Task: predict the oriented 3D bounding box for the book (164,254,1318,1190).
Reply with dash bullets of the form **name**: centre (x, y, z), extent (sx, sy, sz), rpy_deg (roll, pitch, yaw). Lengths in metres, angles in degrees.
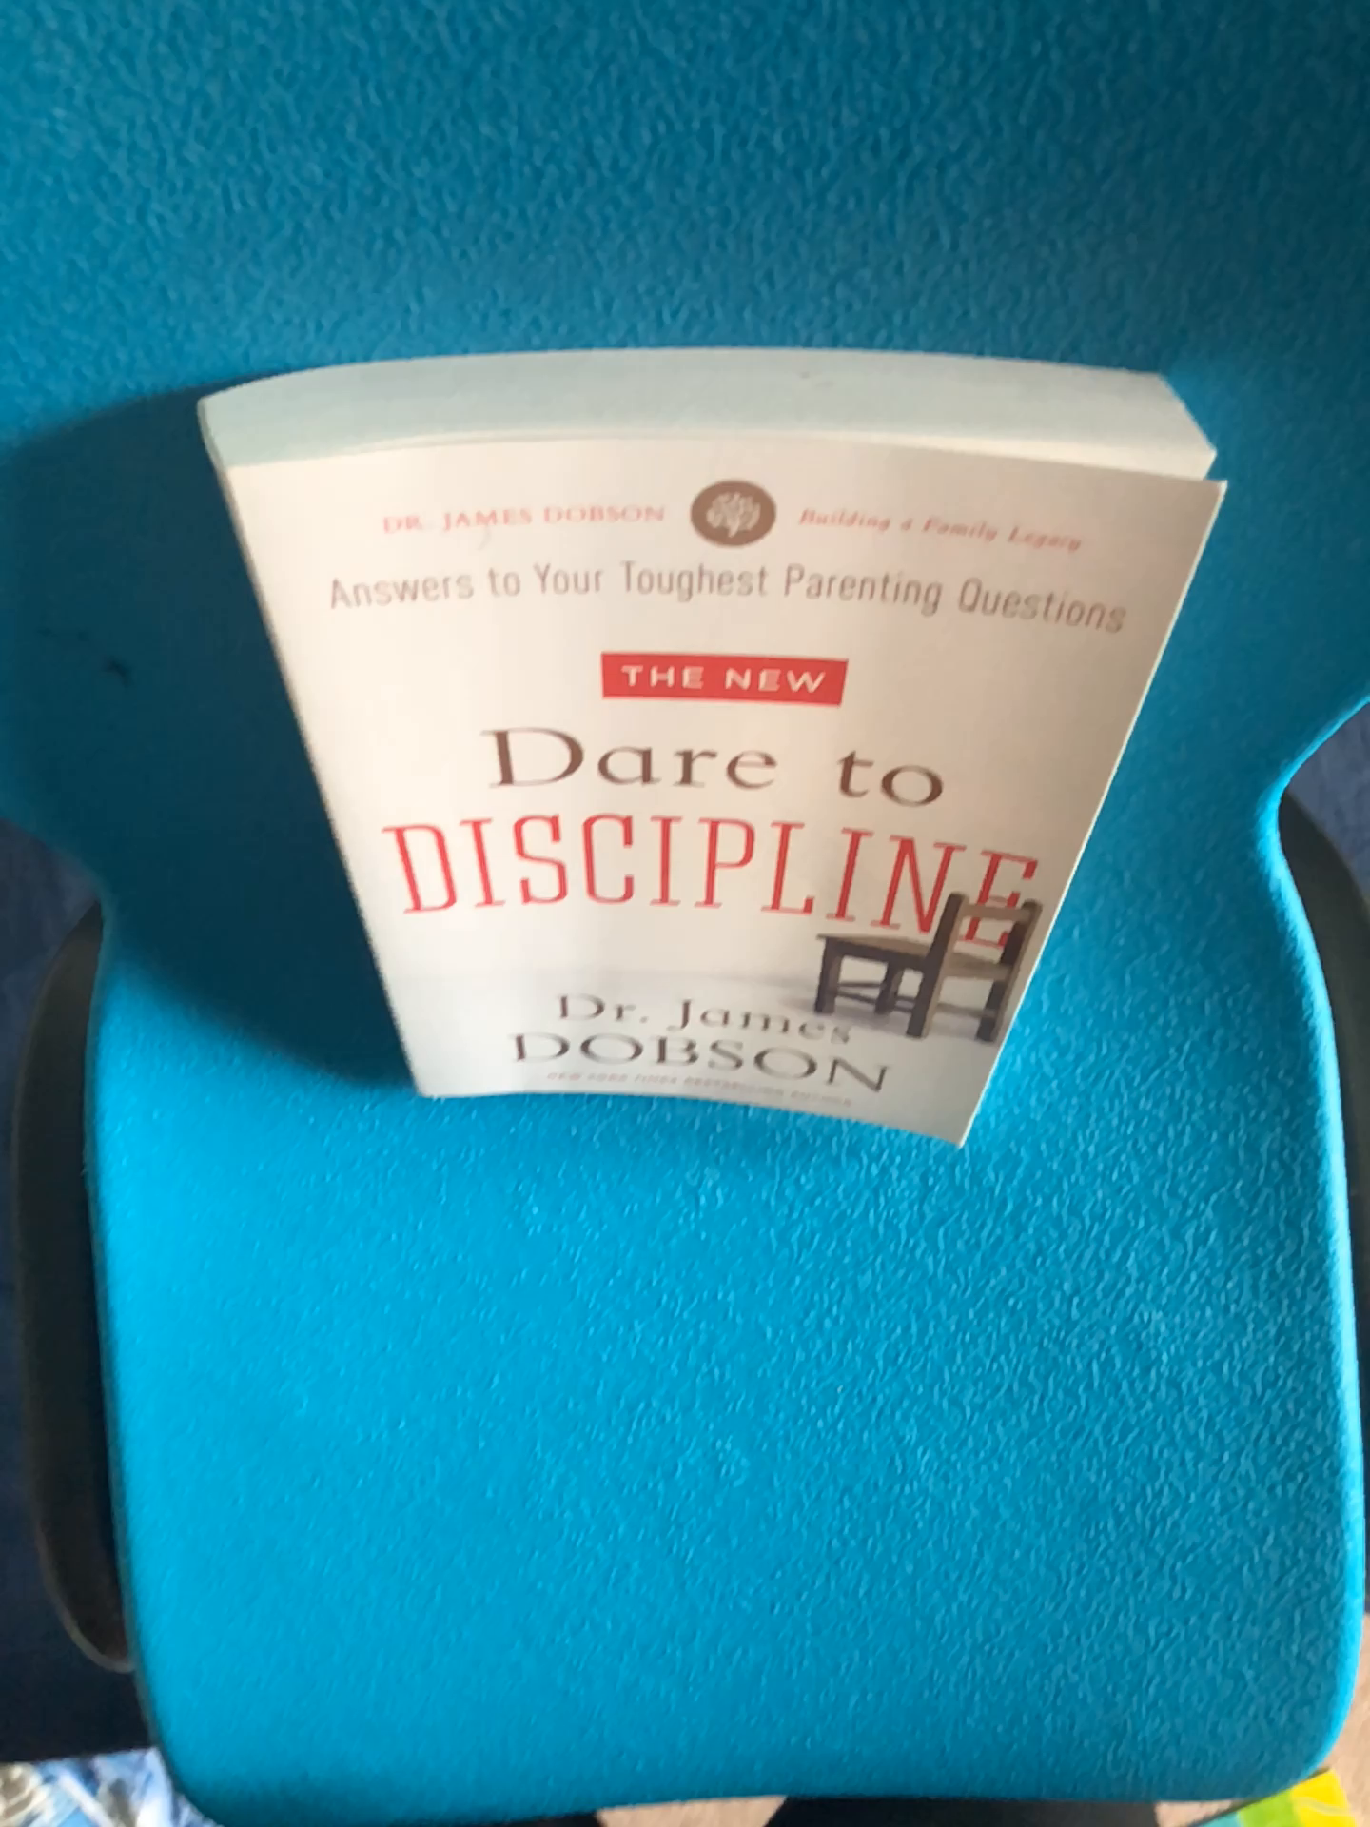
- **book**: centre (0.005, -0.016, 0.288), extent (0.150, 0.200, 0.040), rpy_deg (4, 53, 1)
